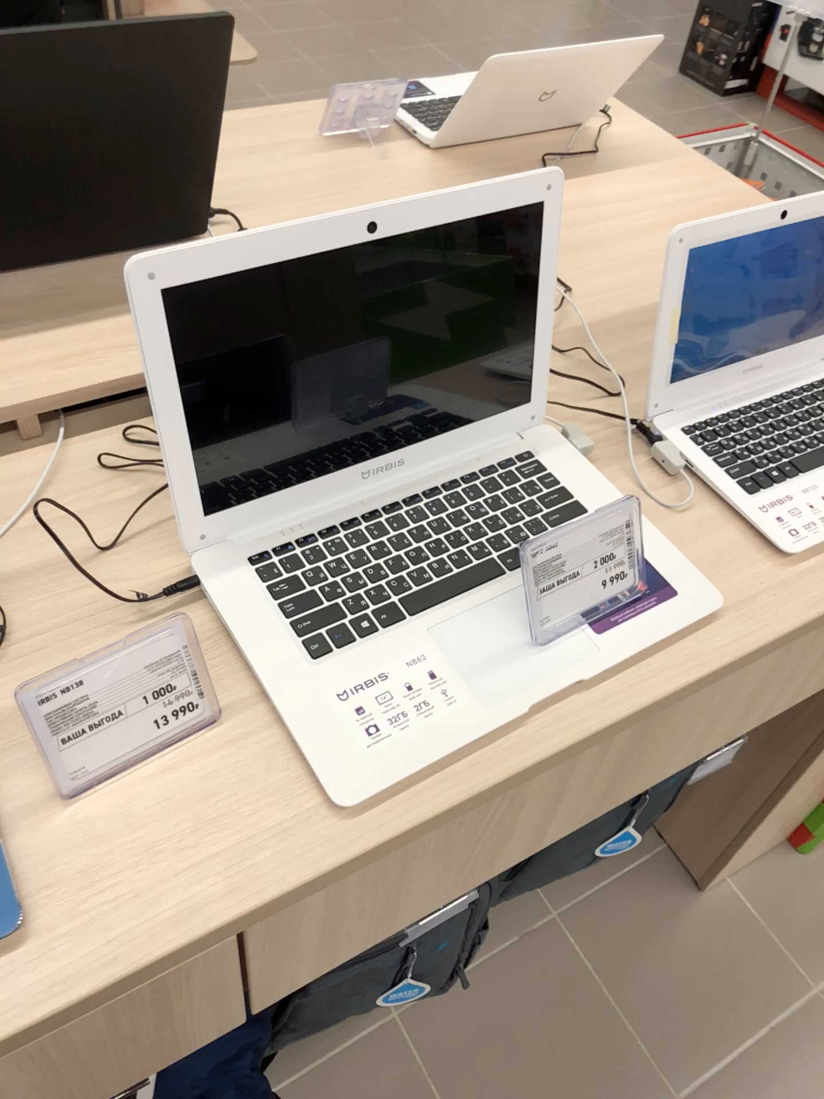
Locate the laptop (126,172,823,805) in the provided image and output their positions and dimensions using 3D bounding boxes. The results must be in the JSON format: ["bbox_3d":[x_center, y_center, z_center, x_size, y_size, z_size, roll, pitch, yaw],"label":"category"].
[{"bbox_3d":[0.032,-0.066,0.618,0.334,0.207,0.279,-22,55,-26],"label":"laptop"}]

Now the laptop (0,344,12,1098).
[{"bbox_3d":[-0.410,0.083,0.440,0.299,0.158,0.311,-20,54,-25],"label":"laptop"}]

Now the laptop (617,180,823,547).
[{"bbox_3d":[0.376,-0.172,0.795,0.260,0.167,0.221,-21,54,-23],"label":"laptop"}]
